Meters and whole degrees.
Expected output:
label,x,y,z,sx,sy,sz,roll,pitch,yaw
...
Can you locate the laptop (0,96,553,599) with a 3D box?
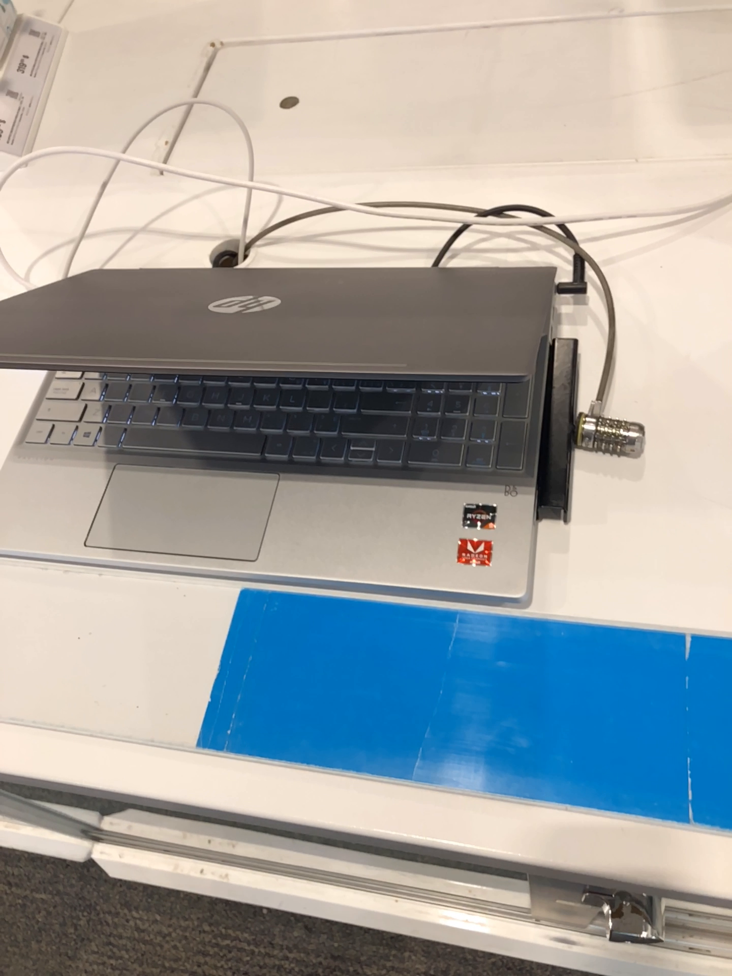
label,x,y,z,sx,sy,sz,roll,pitch,yaw
laptop,-0.080,-0.086,0.473,0.350,0.134,0.231,4,60,15
